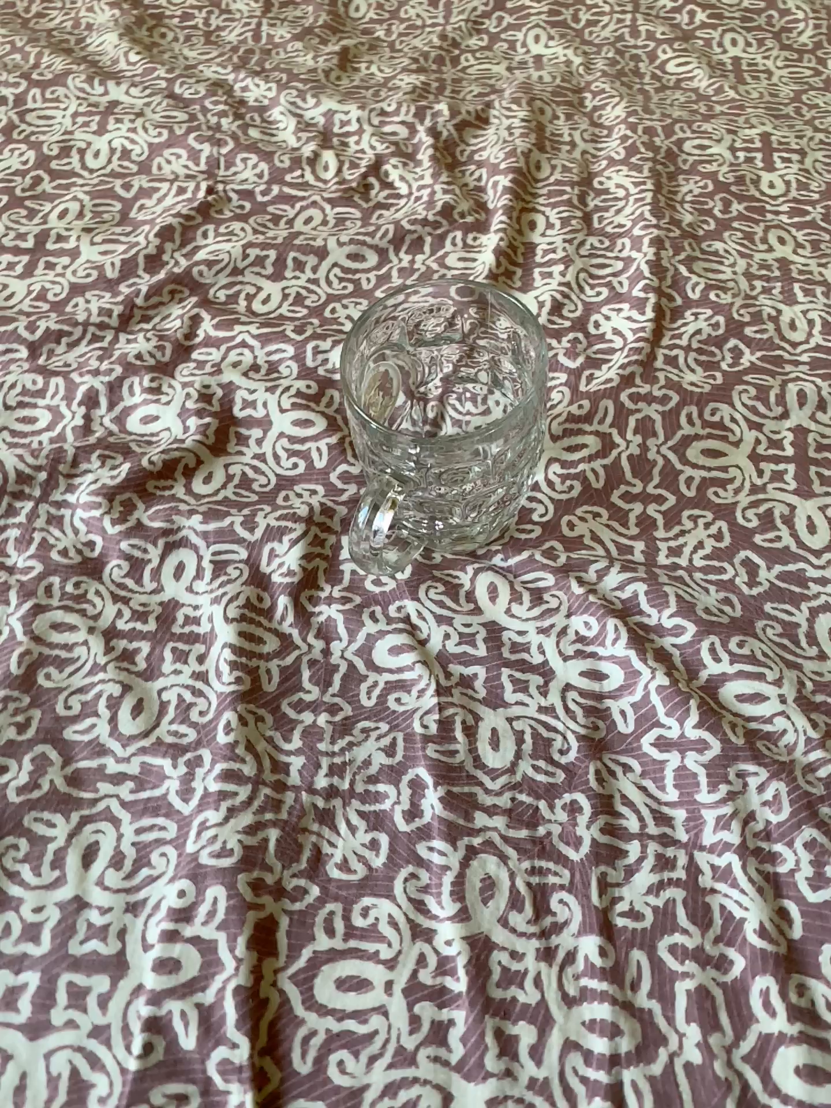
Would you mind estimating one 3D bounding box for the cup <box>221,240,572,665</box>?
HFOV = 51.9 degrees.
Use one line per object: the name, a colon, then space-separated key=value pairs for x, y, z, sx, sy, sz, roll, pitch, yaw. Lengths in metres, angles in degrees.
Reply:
cup: x=-0.001 y=-0.046 z=0.381 sx=0.090 sy=0.109 sz=0.131 roll=20 pitch=57 yaw=16
